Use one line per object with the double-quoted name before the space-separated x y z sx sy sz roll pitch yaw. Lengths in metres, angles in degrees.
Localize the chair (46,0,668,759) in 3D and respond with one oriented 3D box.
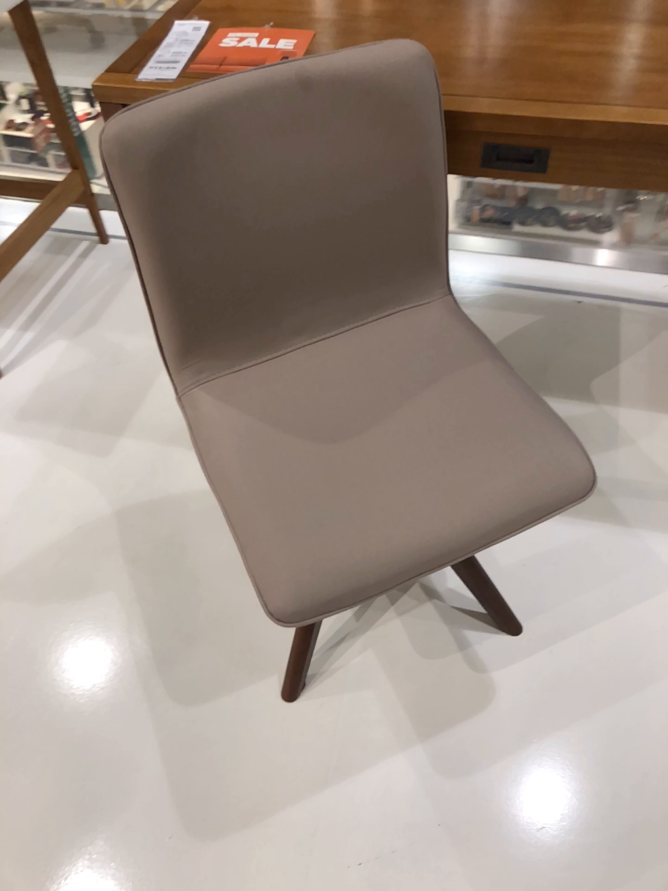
"chair" 0.049 -0.057 1.065 0.541 0.834 0.533 -22 51 -15
